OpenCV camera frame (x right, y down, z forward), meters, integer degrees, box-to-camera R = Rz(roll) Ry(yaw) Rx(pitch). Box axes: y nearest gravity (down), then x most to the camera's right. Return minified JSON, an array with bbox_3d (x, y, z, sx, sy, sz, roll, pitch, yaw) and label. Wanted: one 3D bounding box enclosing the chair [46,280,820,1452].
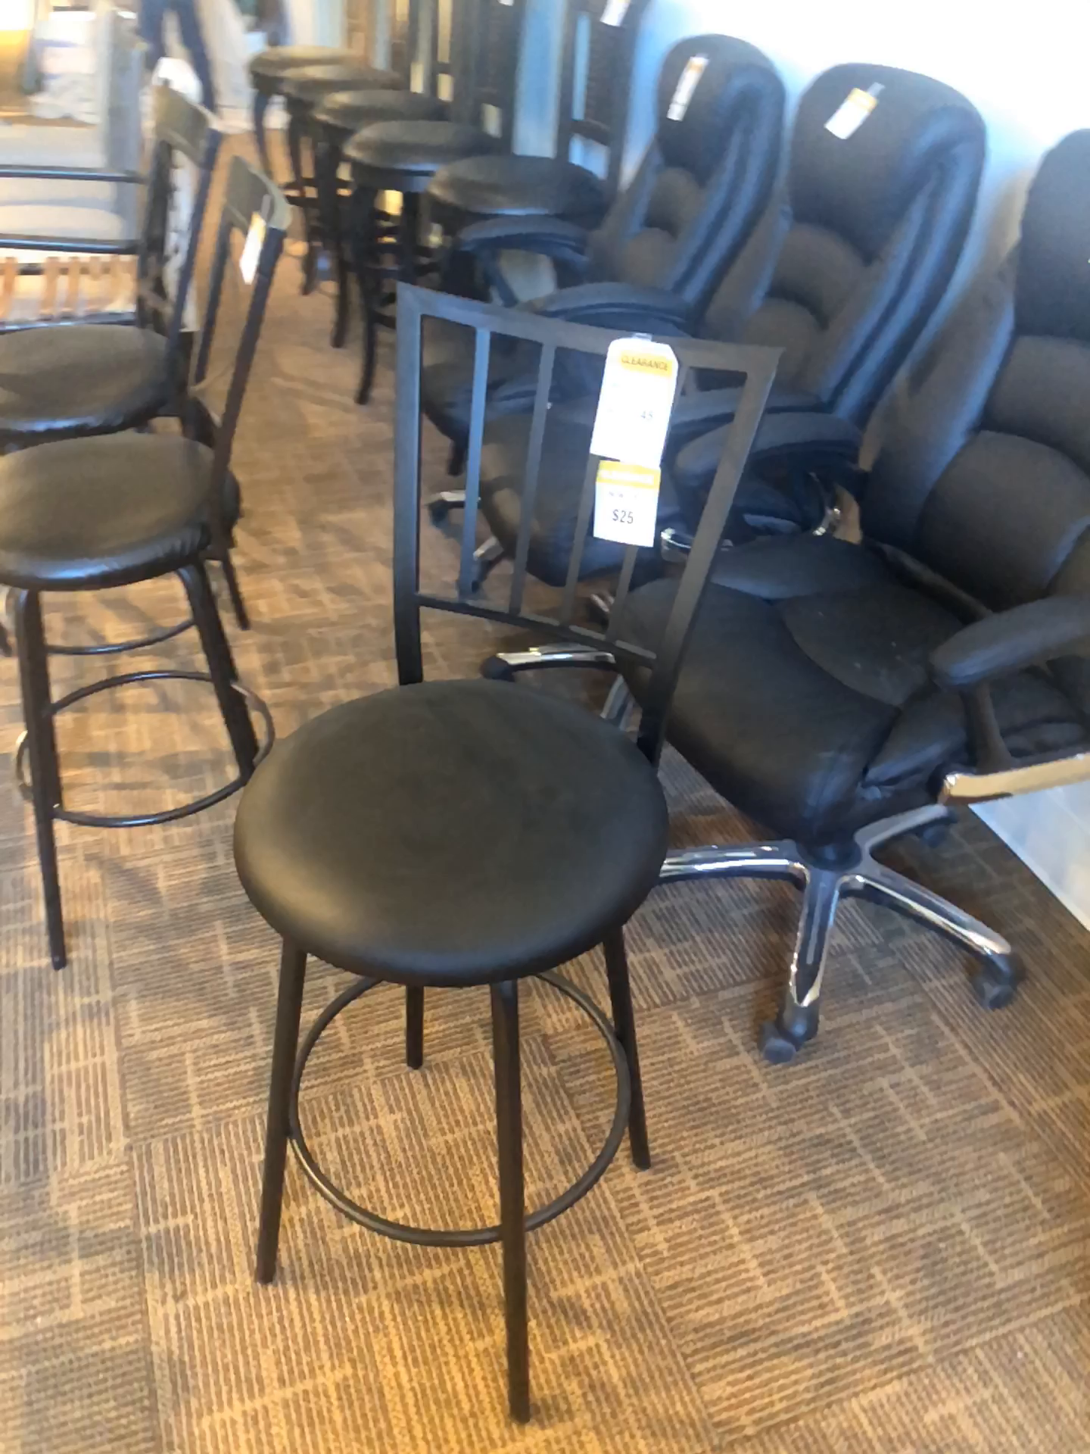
[{"bbox_3d":[-0.075,0.177,1.250,0.430,1.074,0.482,16,37,18],"label":"chair"}]
